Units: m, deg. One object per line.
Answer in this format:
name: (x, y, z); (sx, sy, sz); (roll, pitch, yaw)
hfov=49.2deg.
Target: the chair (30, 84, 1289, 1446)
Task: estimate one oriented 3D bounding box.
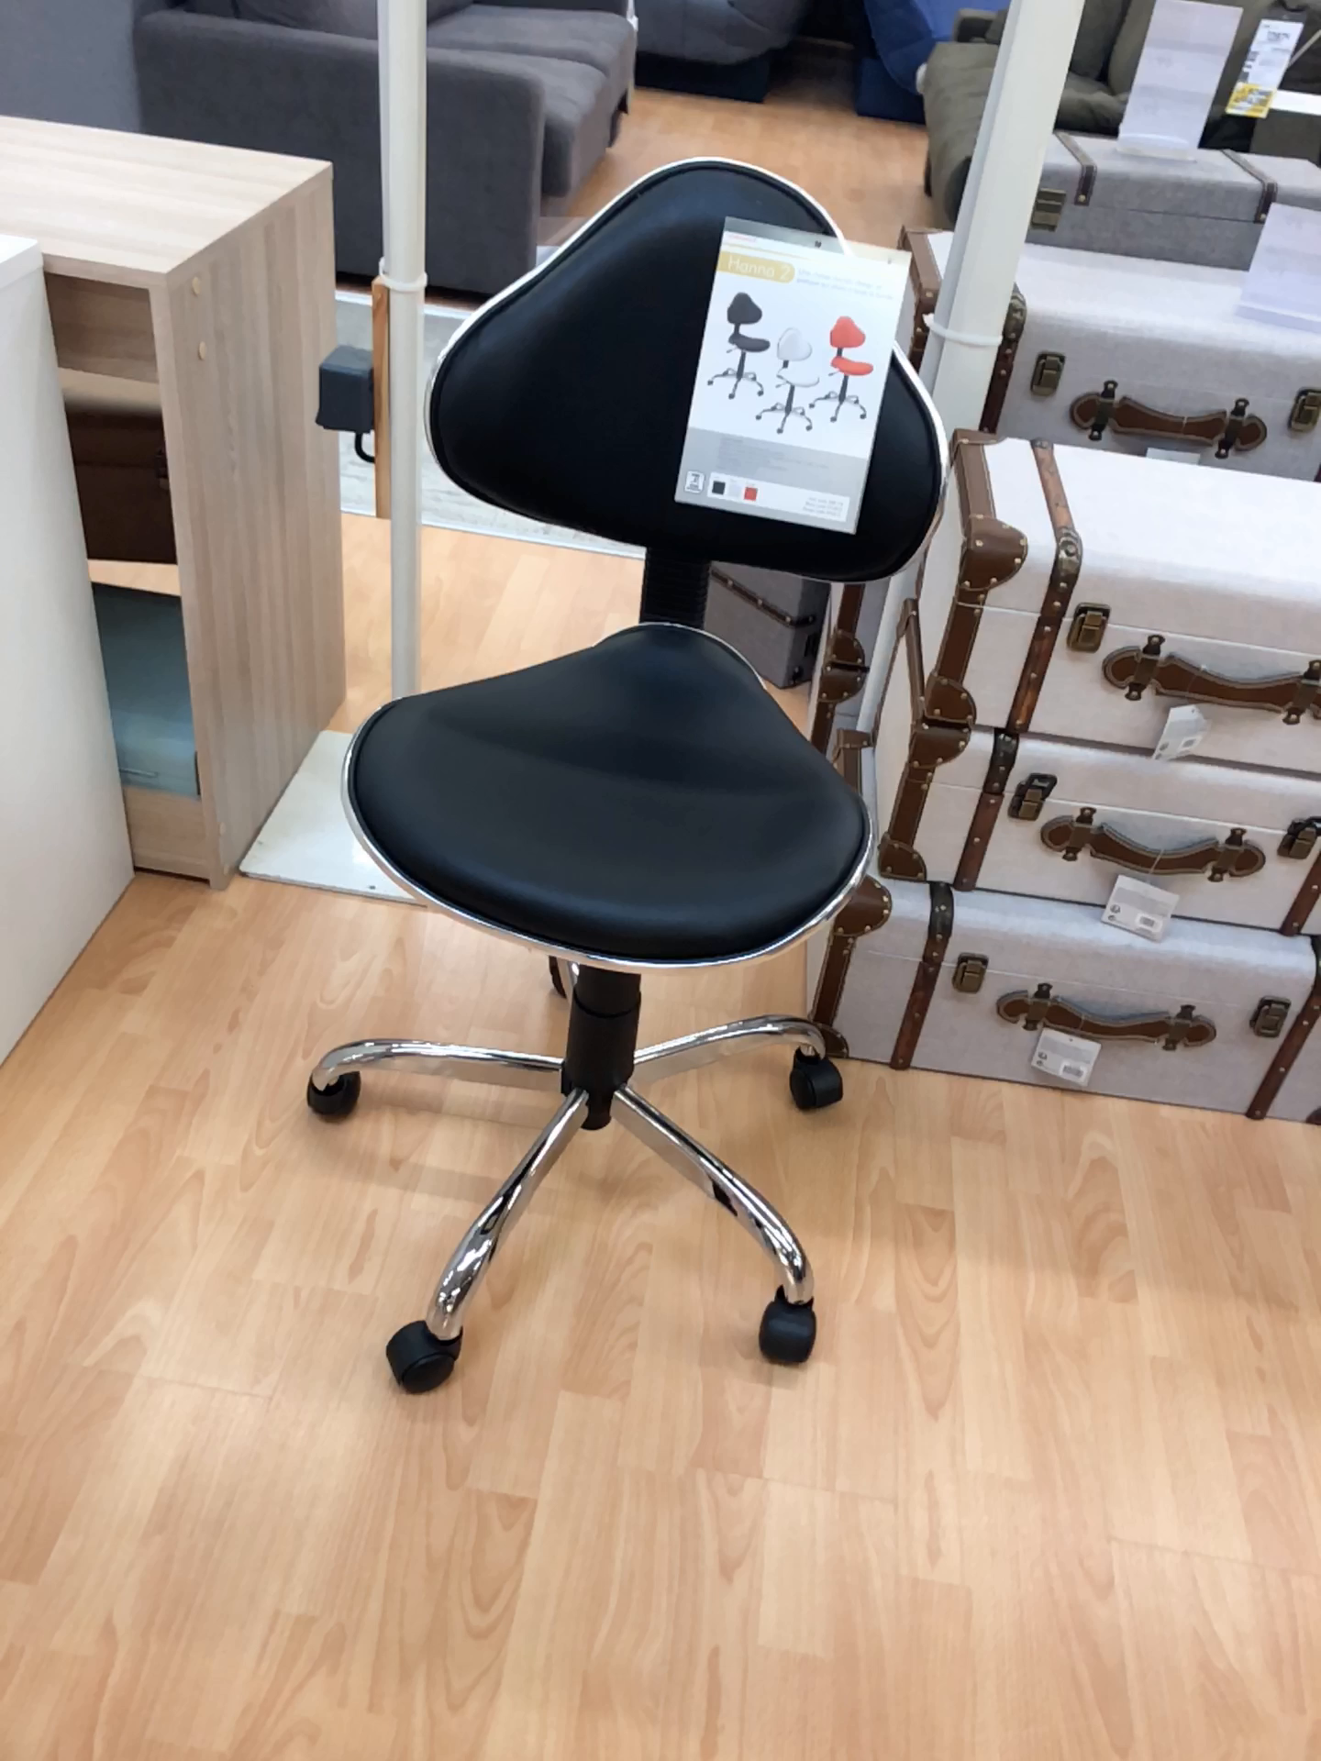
chair: (-0.027, -0.082, 1.186); (0.600, 0.854, 0.614); (7, 38, -2)
